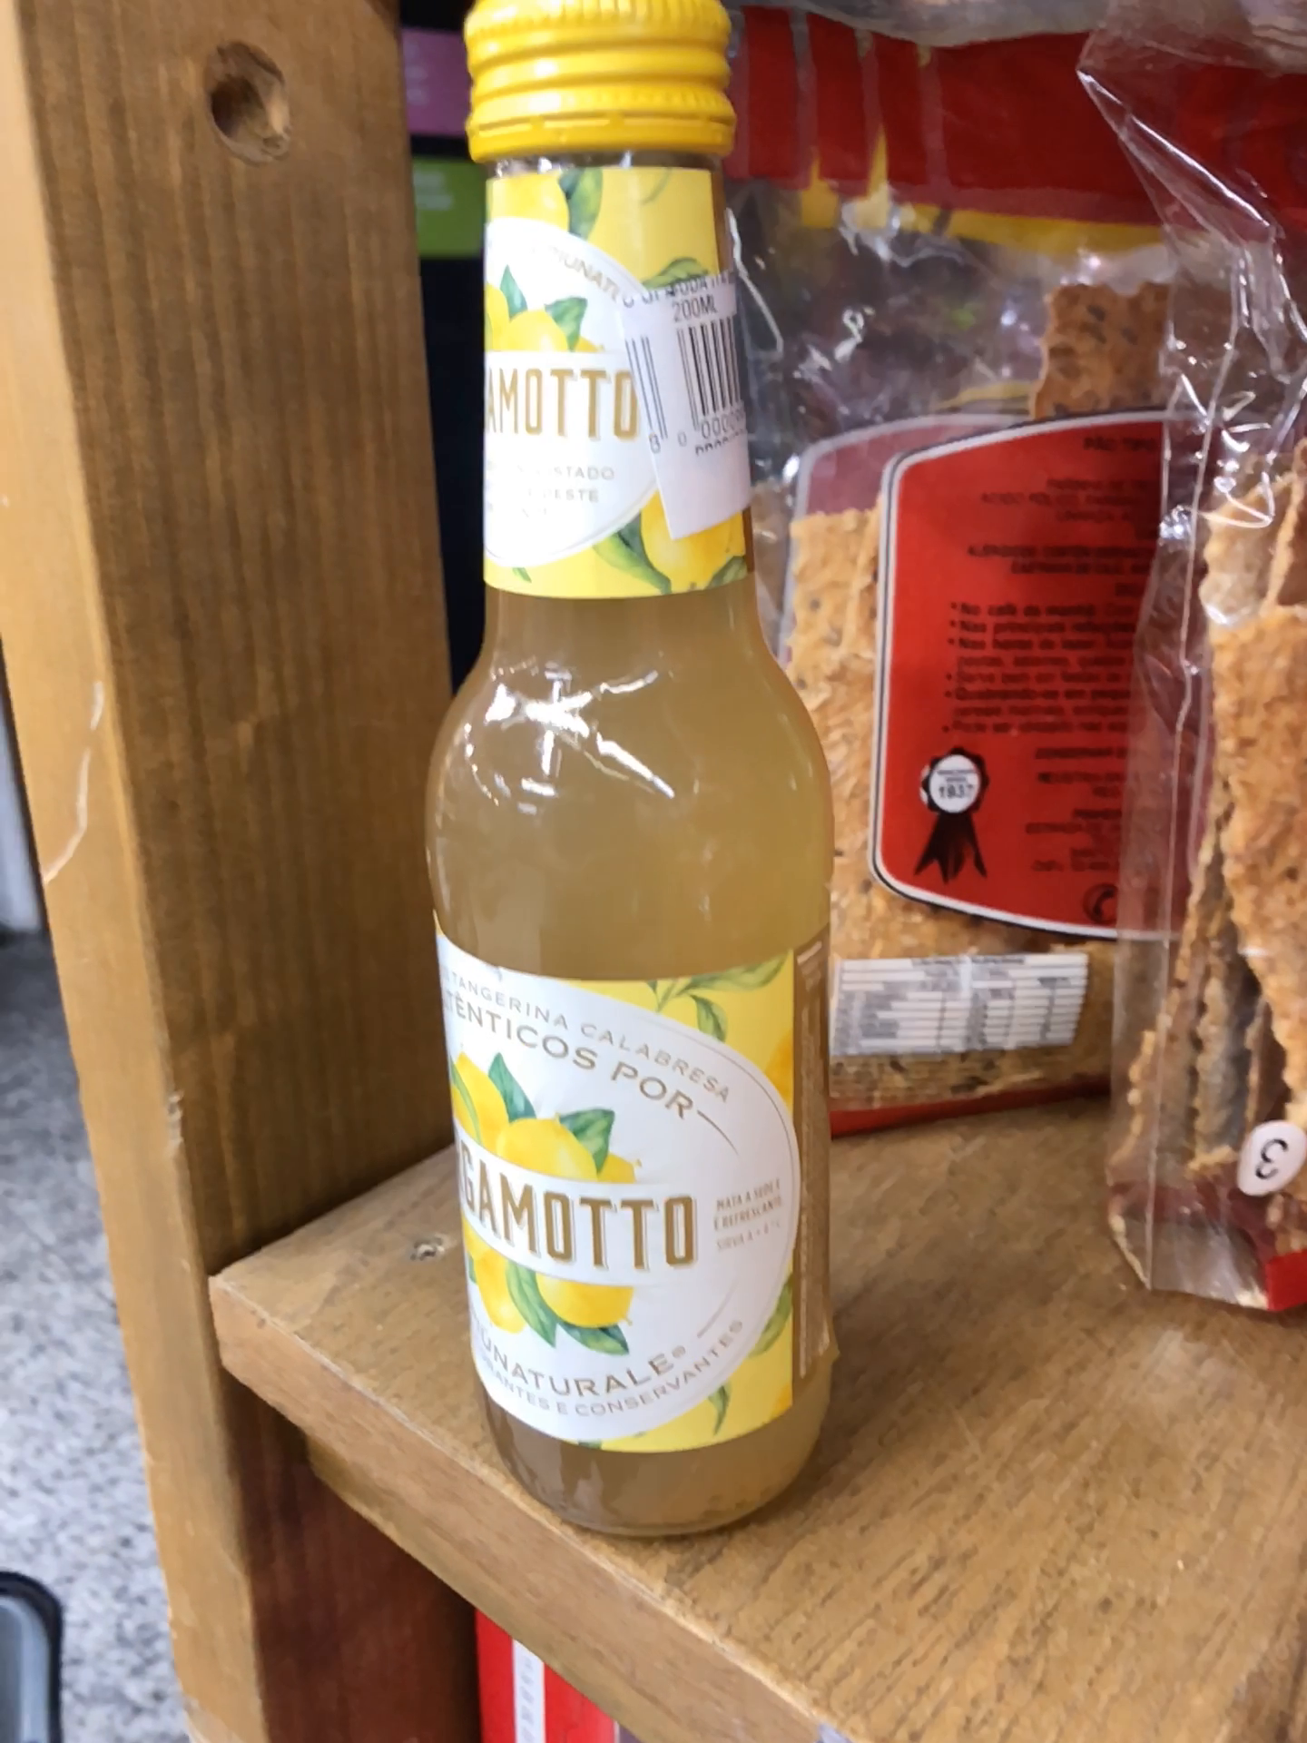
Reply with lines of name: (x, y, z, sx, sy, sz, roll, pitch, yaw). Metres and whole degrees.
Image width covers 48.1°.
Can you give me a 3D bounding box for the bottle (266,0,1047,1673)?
bottle: (0.002, -0.005, 0.193, 0.060, 0.199, 0.060, -1, 21, 0)
